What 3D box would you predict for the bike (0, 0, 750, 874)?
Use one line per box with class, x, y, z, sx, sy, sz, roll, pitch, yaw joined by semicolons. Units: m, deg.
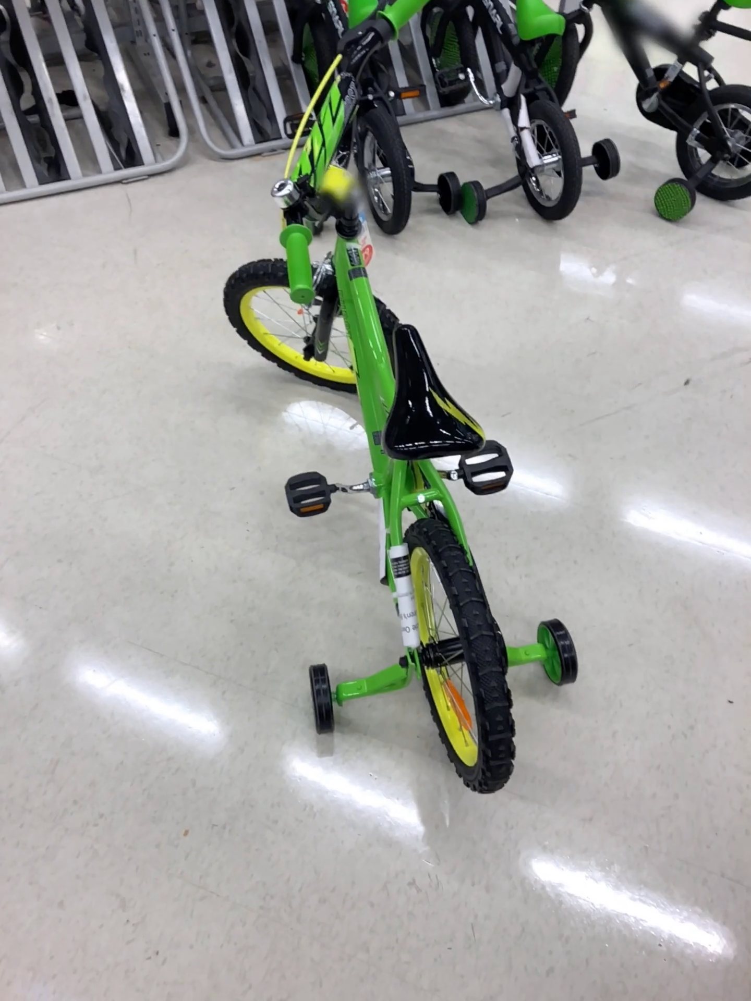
bike;-0.065;-0.185;1.156;0.552;0.807;1.048;-19;61;-16
